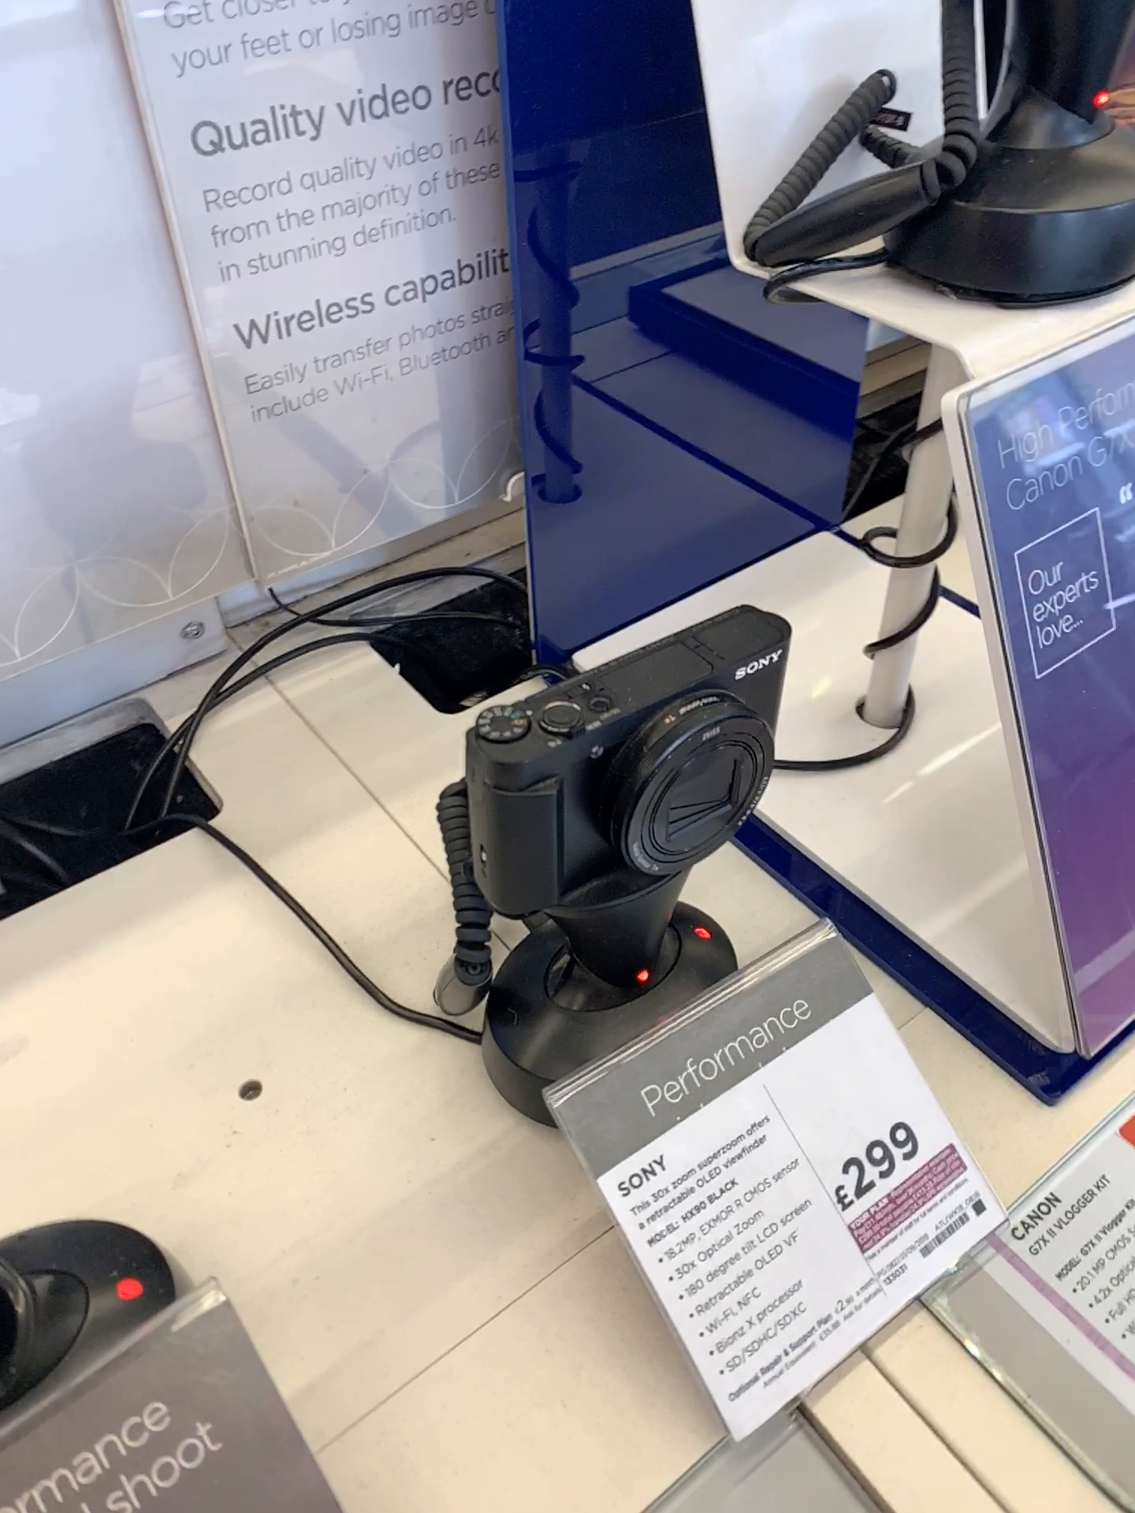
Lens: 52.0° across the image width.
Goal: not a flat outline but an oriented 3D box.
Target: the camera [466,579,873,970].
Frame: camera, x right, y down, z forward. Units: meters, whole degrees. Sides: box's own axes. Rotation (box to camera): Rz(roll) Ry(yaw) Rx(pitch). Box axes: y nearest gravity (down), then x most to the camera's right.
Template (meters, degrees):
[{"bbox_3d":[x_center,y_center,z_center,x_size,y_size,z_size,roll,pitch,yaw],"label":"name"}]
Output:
[{"bbox_3d":[0.027,0.002,0.314,0.100,0.059,0.040,-25,48,-26],"label":"camera"}]
